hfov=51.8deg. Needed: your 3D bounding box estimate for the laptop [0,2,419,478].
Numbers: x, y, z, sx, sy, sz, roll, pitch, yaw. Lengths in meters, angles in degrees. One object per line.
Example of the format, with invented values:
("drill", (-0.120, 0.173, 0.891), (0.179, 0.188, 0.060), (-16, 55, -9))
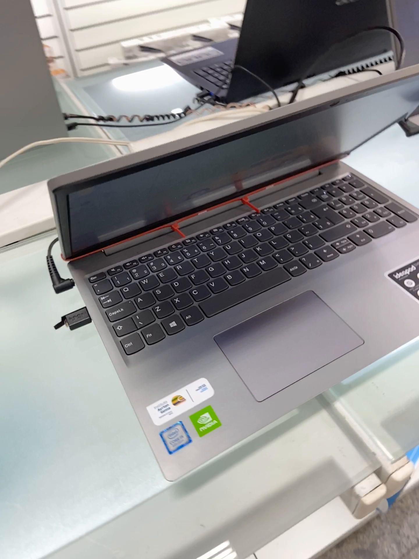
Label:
("laptop", (0.062, -0.072, 0.359), (0.360, 0.175, 0.245), (-23, 48, -18))
